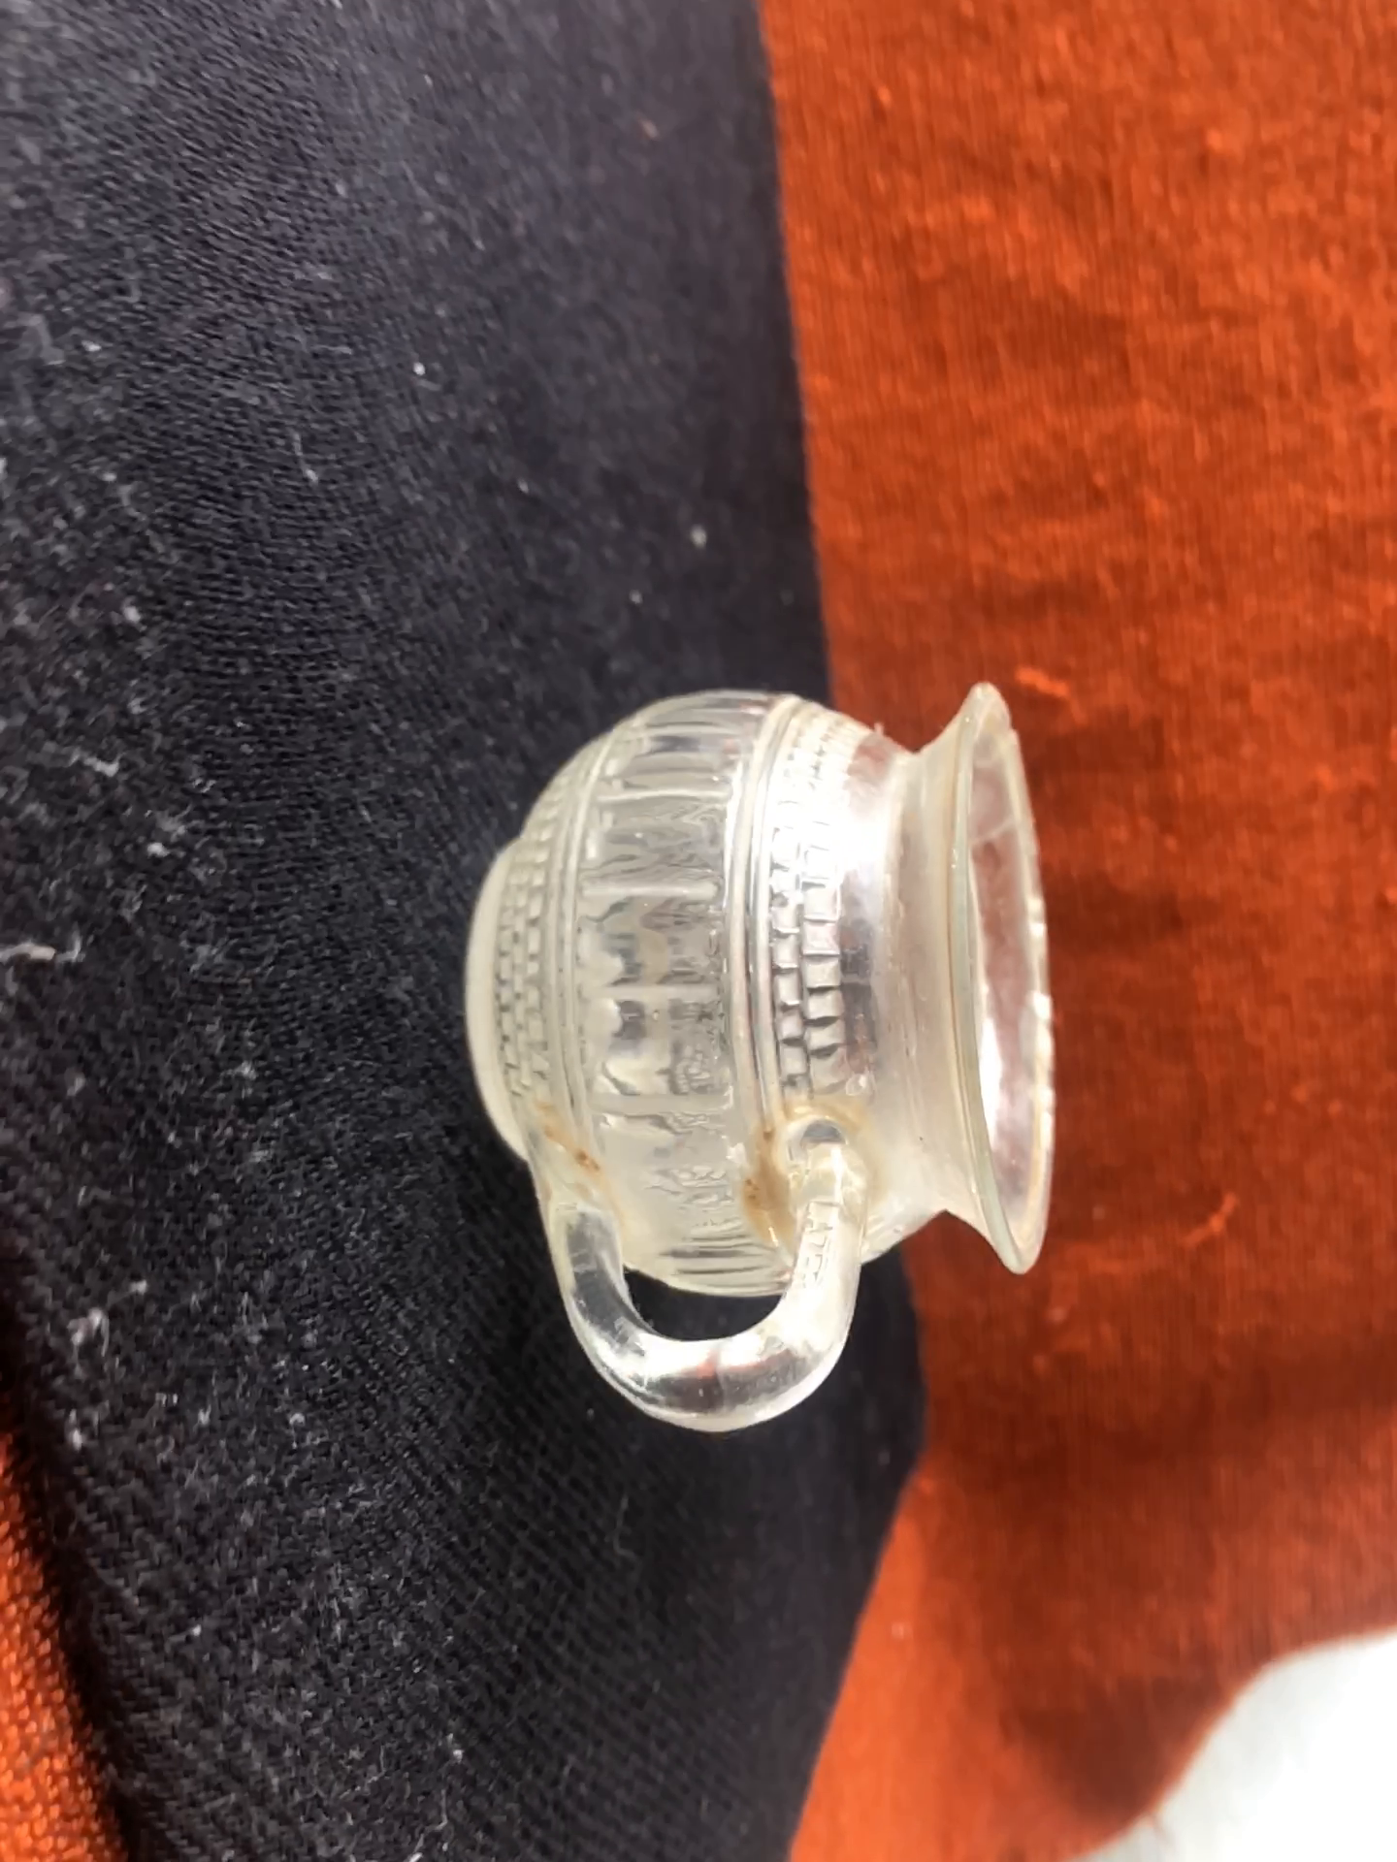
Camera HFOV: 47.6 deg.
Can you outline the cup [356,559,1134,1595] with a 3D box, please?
[{"bbox_3d":[0.014,0.020,0.180,0.070,0.060,0.090,59,32,-54],"label":"cup"}]
